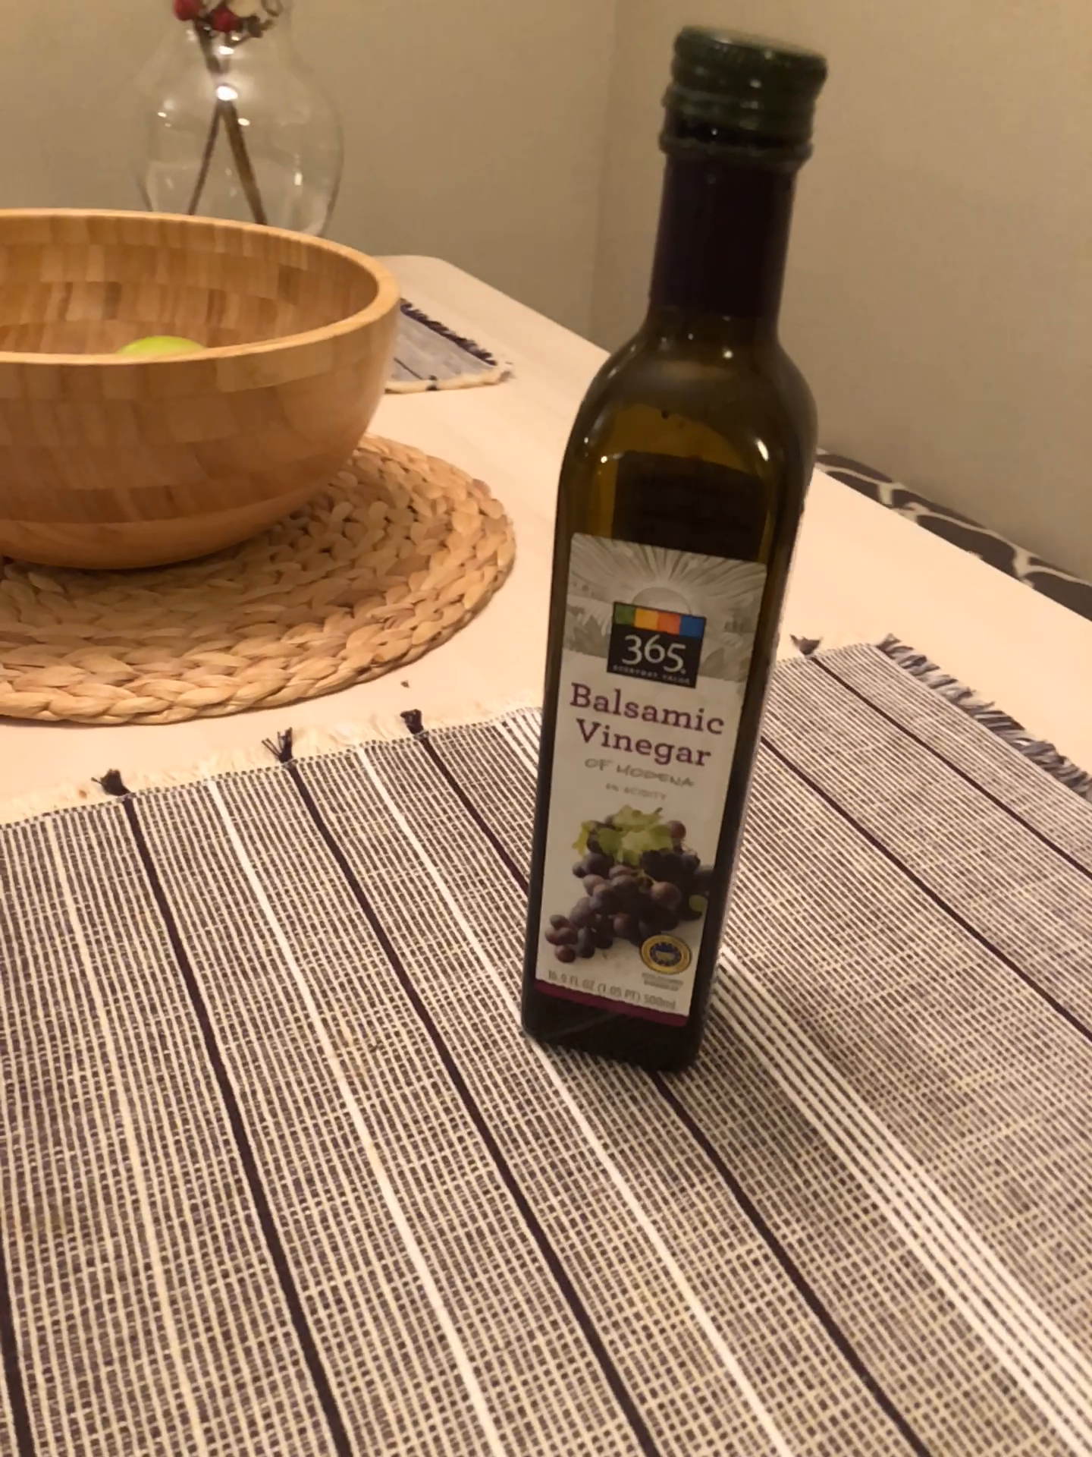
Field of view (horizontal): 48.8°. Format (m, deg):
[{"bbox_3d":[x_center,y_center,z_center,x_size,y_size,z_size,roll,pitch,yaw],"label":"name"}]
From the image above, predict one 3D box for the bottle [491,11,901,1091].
[{"bbox_3d":[0.030,-0.028,0.306,0.060,0.261,0.060,3,32,-2],"label":"bottle"}]
